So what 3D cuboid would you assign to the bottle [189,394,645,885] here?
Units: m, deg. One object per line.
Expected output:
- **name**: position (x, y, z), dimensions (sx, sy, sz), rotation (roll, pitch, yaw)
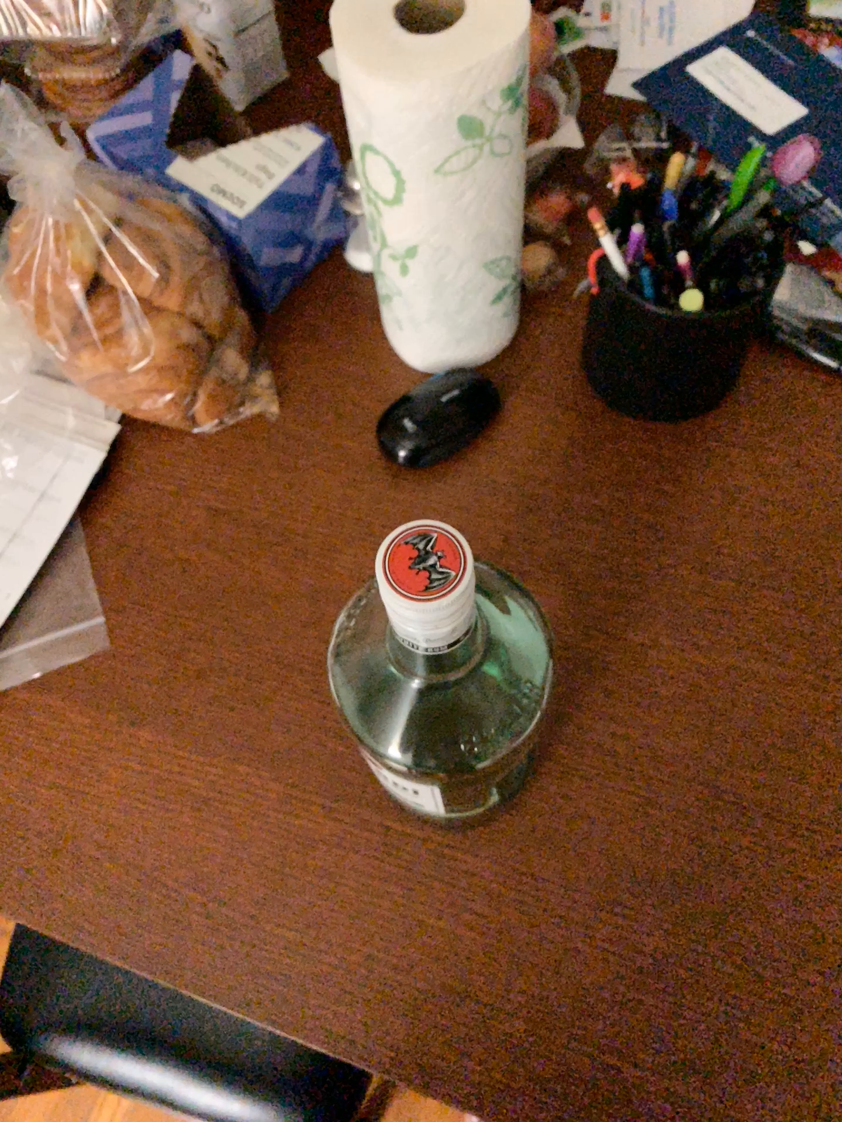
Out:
- **bottle**: position (0.007, 0.075, 0.473), dimensions (0.120, 0.329, 0.120), rotation (-2, 66, 4)
